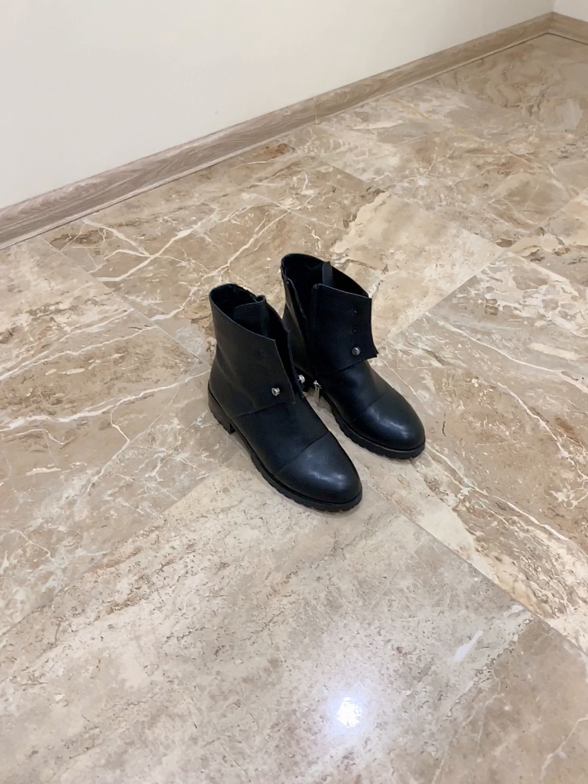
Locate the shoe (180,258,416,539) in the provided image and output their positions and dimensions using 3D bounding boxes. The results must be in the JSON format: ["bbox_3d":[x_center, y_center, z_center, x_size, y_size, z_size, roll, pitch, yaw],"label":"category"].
[{"bbox_3d":[-0.012,0.006,0.687,0.251,0.199,0.090,39,54,25],"label":"shoe"}]

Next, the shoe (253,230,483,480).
[{"bbox_3d":[0.074,-0.047,0.750,0.251,0.199,0.090,34,52,25],"label":"shoe"}]
